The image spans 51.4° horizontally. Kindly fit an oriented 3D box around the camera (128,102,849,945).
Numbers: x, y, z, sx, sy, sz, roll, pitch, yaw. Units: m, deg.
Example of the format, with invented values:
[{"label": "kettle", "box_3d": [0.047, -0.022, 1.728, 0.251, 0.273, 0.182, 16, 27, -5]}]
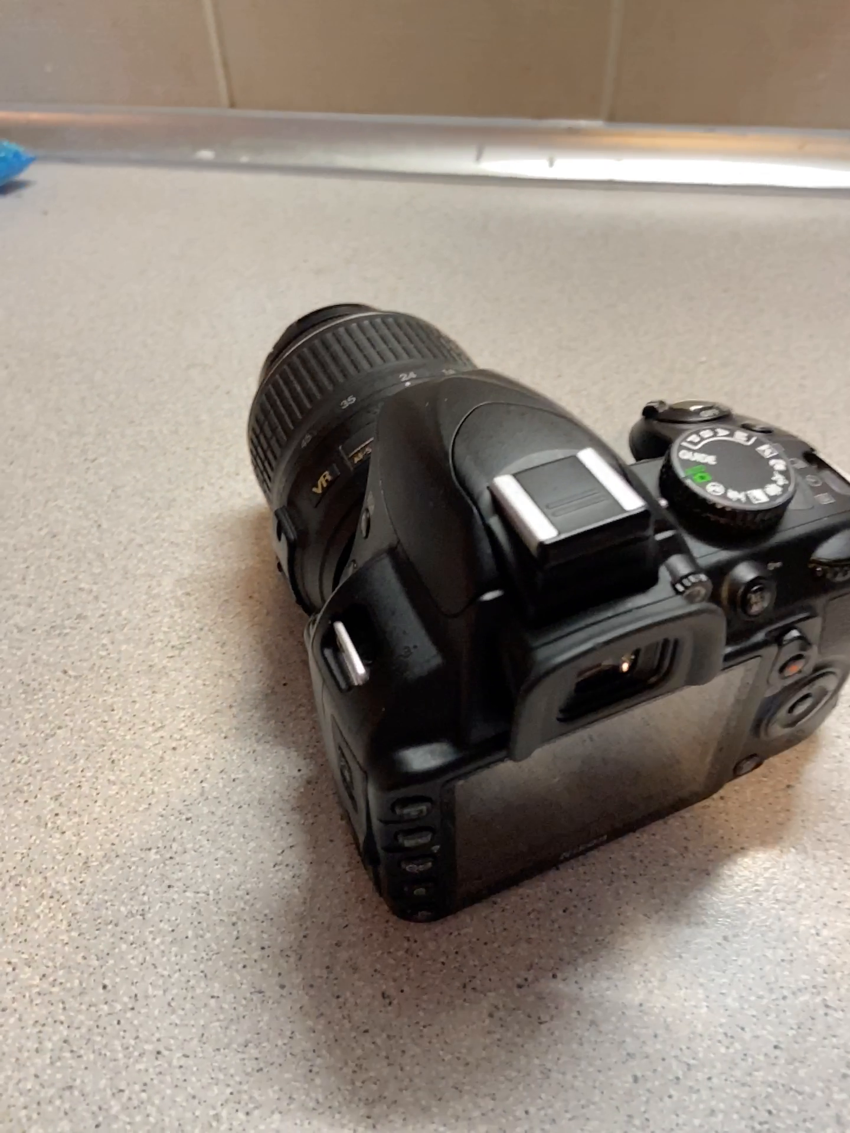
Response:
[{"label": "camera", "box_3d": [0.014, -0.030, 0.223, 0.122, 0.091, 0.178, -19, 48, -15]}]
